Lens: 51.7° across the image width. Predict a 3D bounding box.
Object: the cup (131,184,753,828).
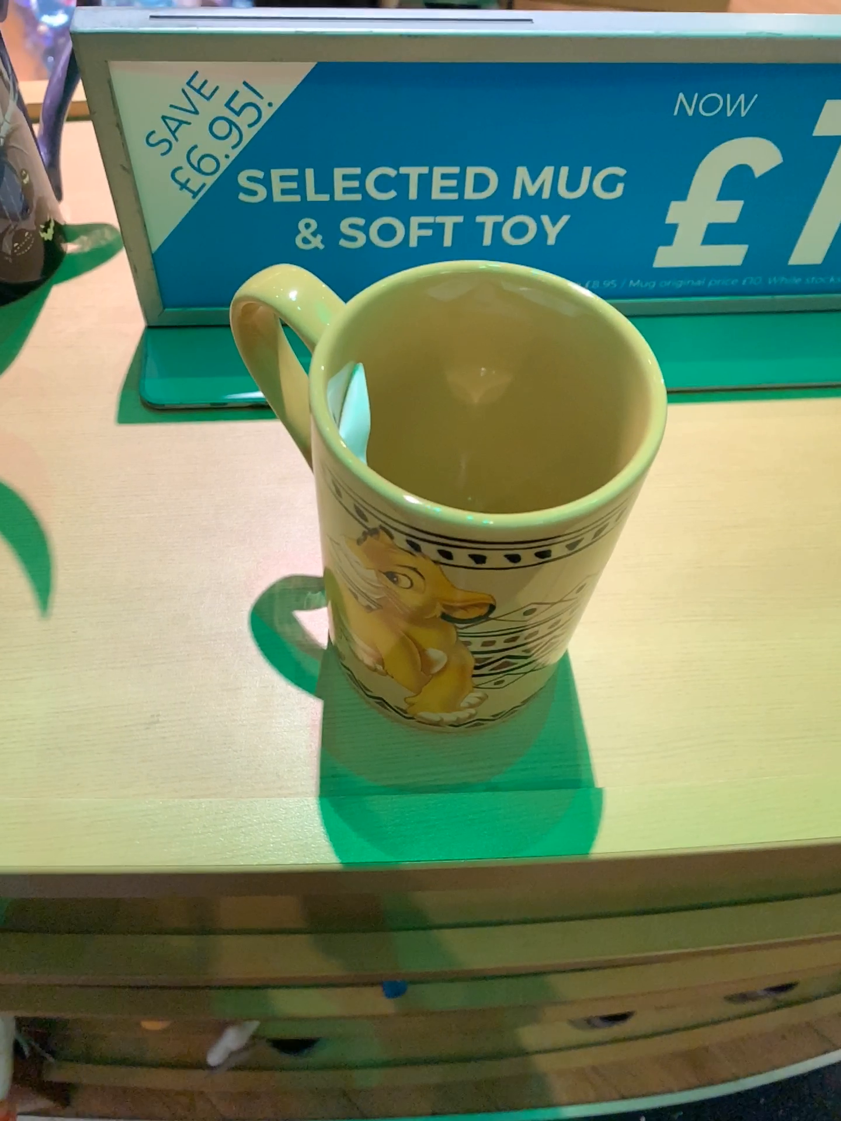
[{"bbox_3d":[0.004,-0.014,0.262,0.119,0.121,0.100,31,57,15],"label":"cup"}]
